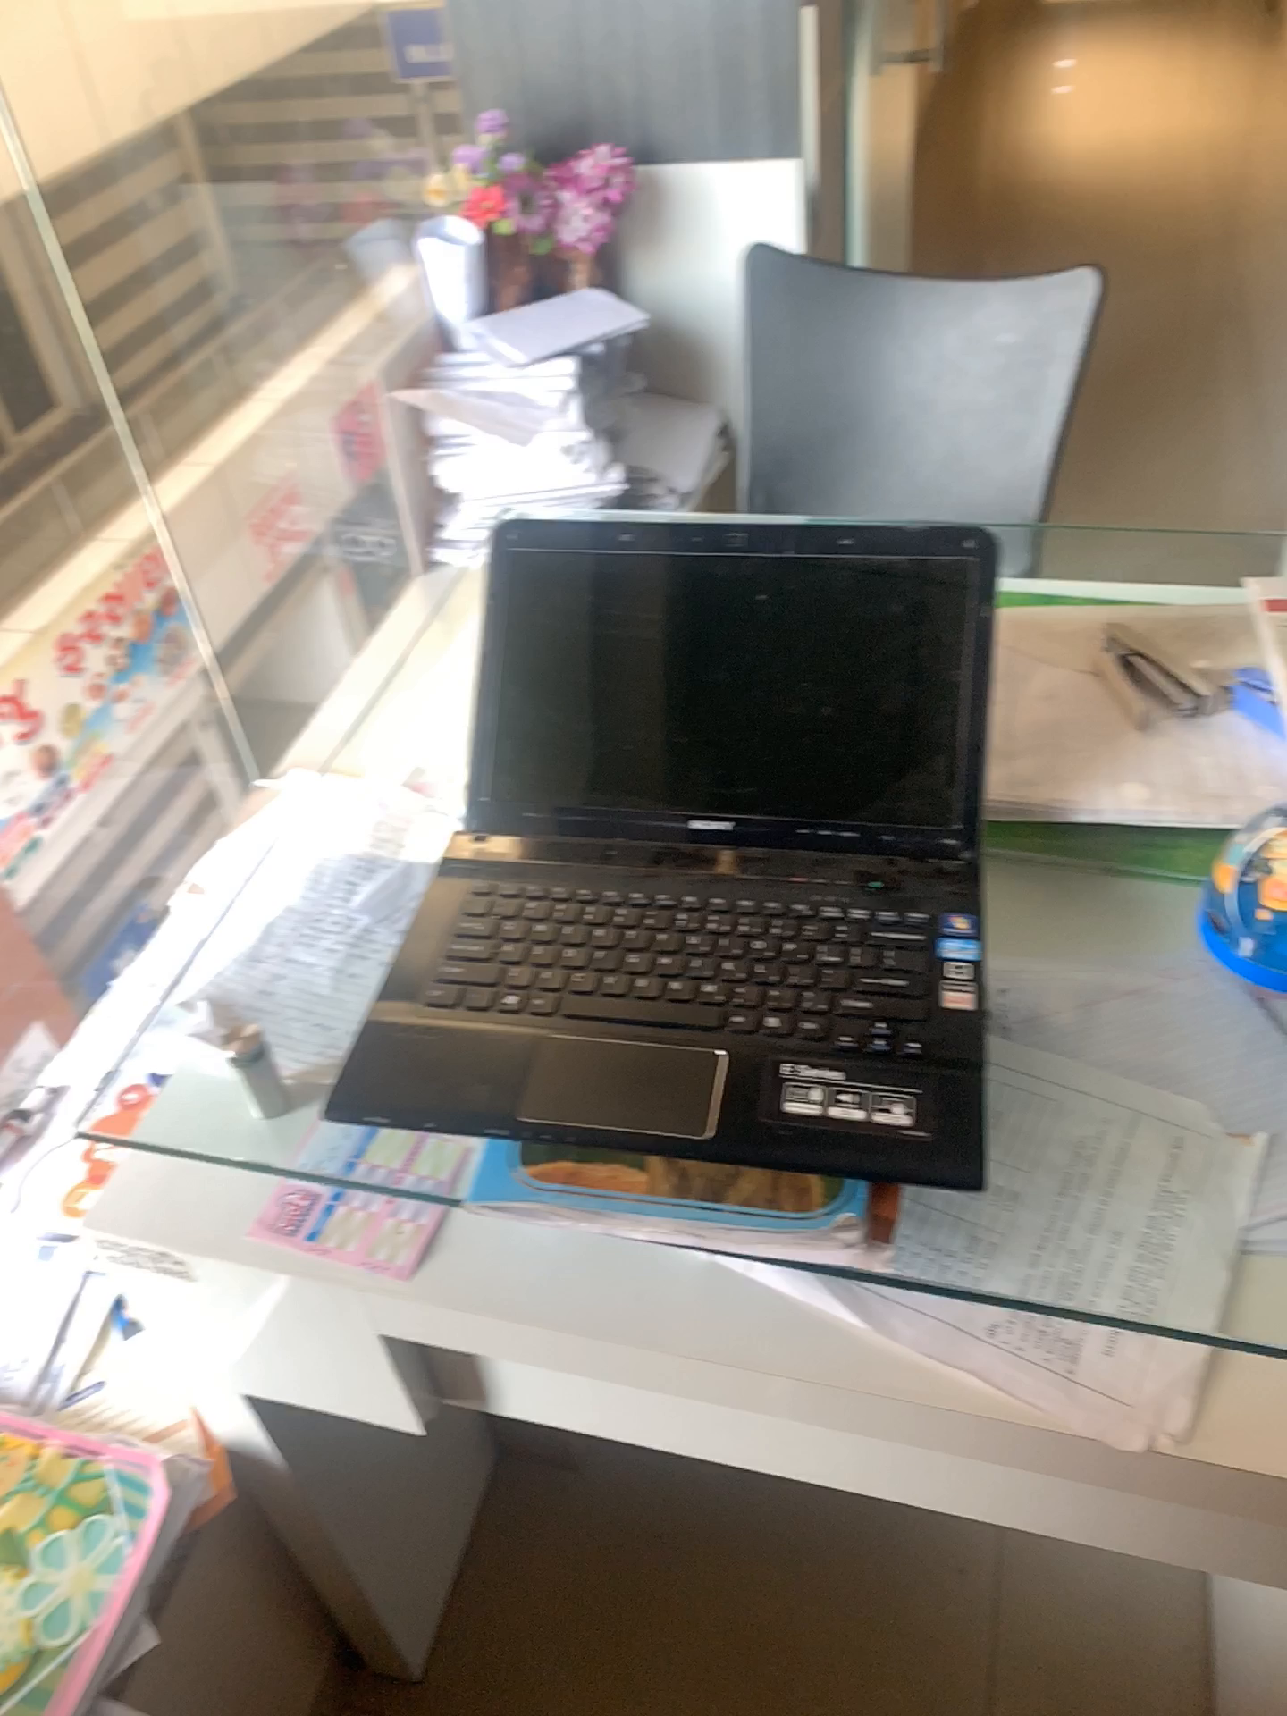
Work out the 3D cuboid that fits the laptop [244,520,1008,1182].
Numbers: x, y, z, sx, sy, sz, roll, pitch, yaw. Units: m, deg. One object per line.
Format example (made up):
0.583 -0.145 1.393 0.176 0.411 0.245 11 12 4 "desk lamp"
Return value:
0.022 -0.033 0.641 0.285 0.111 0.338 4 42 12 "laptop"
